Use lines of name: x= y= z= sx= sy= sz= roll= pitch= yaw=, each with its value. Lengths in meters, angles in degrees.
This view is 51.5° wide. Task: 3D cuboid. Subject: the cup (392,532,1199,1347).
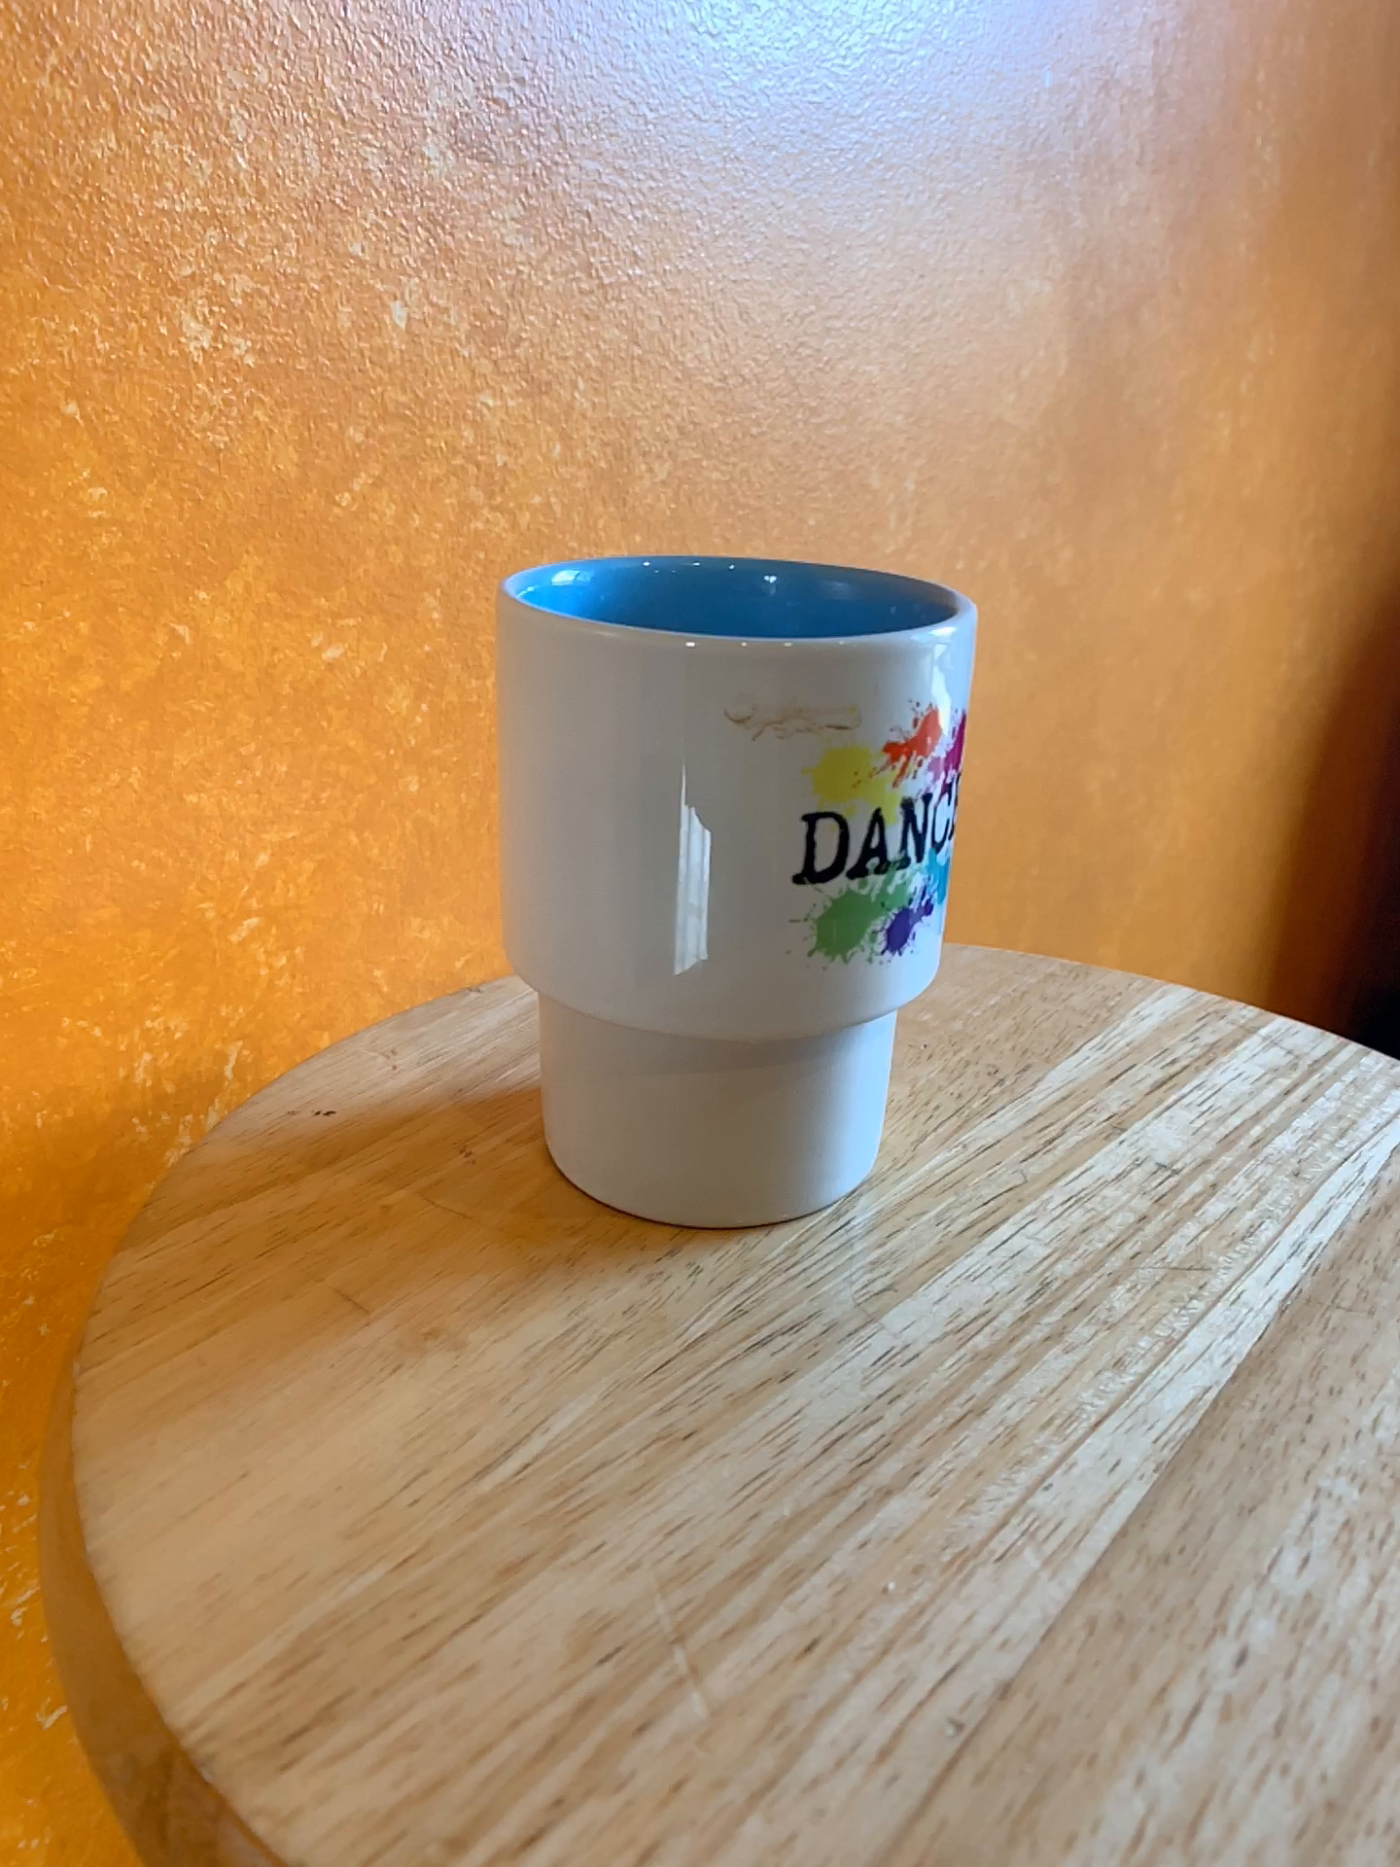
cup: x=0.018 y=-0.012 z=0.274 sx=0.120 sy=0.109 sz=0.080 roll=-17 pitch=29 yaw=-39
